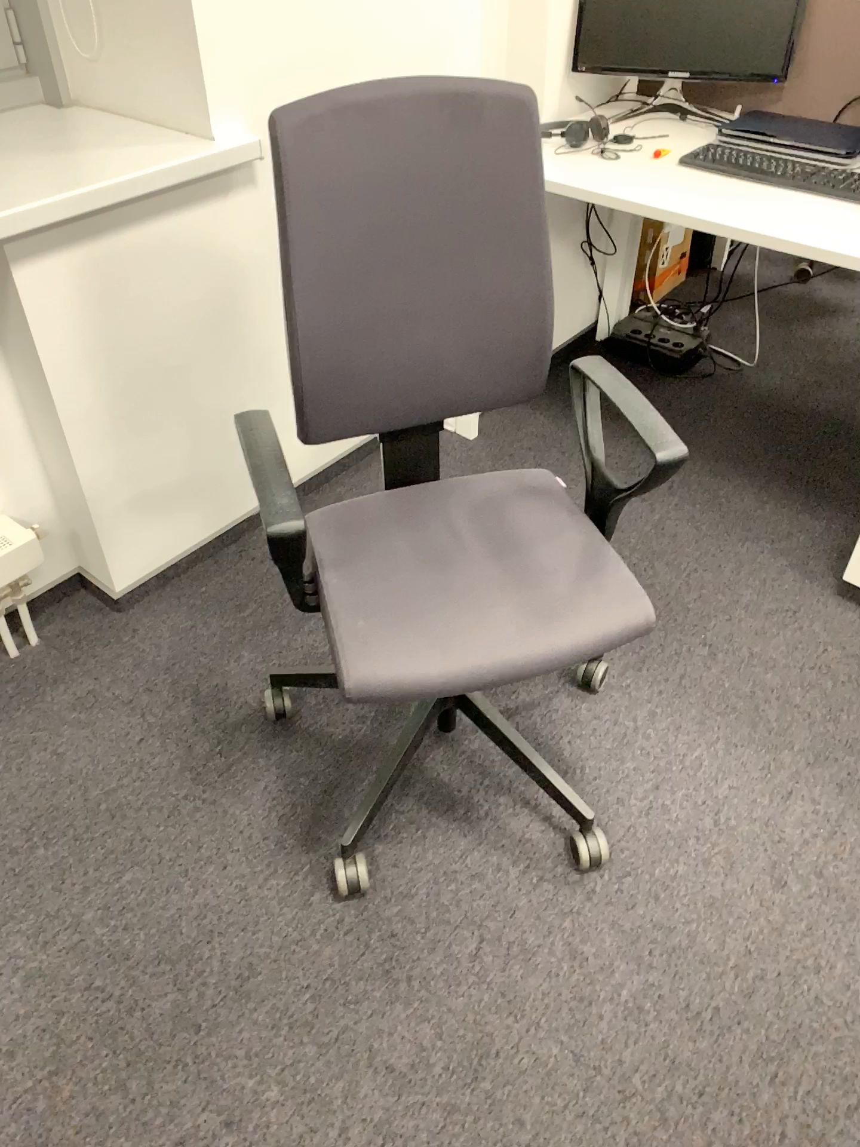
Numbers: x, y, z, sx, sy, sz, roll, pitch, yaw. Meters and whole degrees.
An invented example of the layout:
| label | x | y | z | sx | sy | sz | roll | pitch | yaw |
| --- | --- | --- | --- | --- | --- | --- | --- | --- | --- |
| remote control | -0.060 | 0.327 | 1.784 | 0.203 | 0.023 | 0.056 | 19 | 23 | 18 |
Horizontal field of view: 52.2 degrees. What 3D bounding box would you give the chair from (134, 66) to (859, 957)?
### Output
| label | x | y | z | sx | sy | sz | roll | pitch | yaw |
| --- | --- | --- | --- | --- | --- | --- | --- | --- | --- |
| chair | 0.034 | -0.105 | 1.377 | 0.700 | 1.044 | 0.754 | -12 | 42 | -13 |
